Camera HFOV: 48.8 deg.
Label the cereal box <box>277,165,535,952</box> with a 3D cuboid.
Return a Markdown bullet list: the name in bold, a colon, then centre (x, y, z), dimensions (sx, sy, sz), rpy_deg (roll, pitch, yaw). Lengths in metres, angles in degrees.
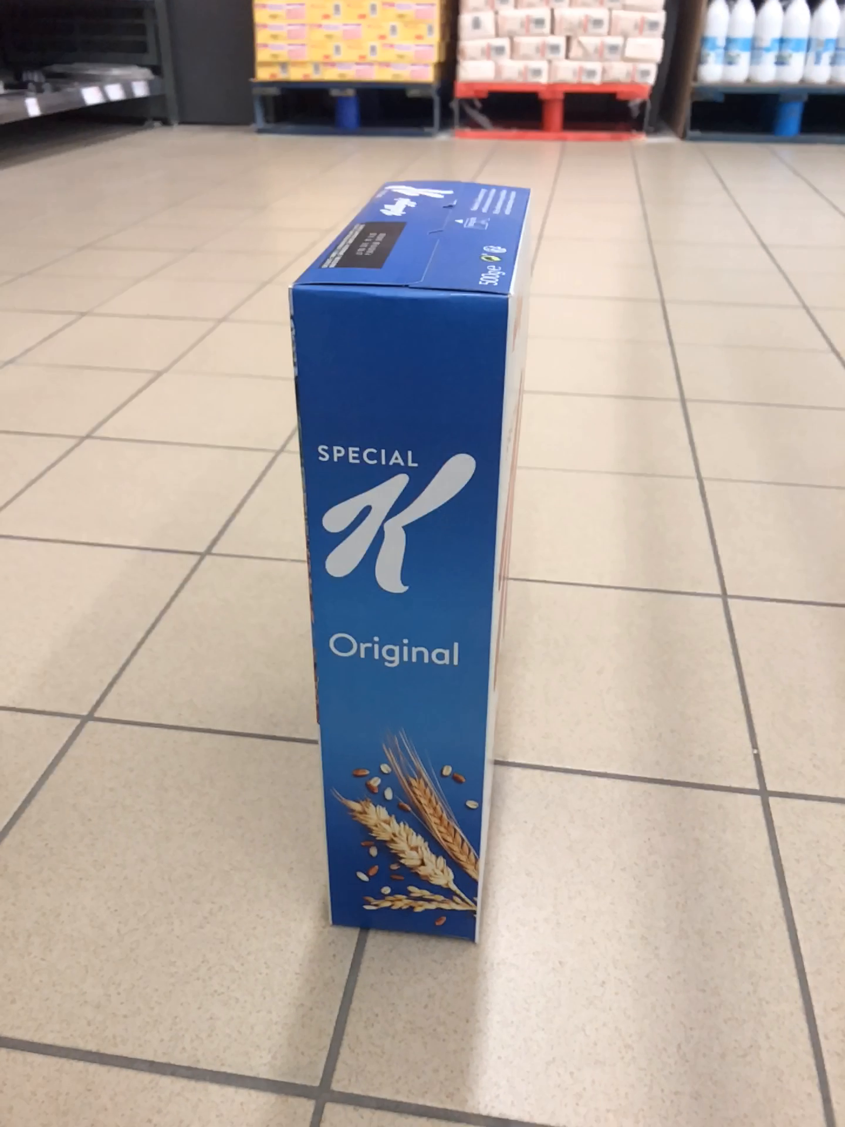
- **cereal box**: centre (0.004, -0.011, 0.436), dimensions (0.070, 0.298, 0.211), rpy_deg (4, 30, 6)
